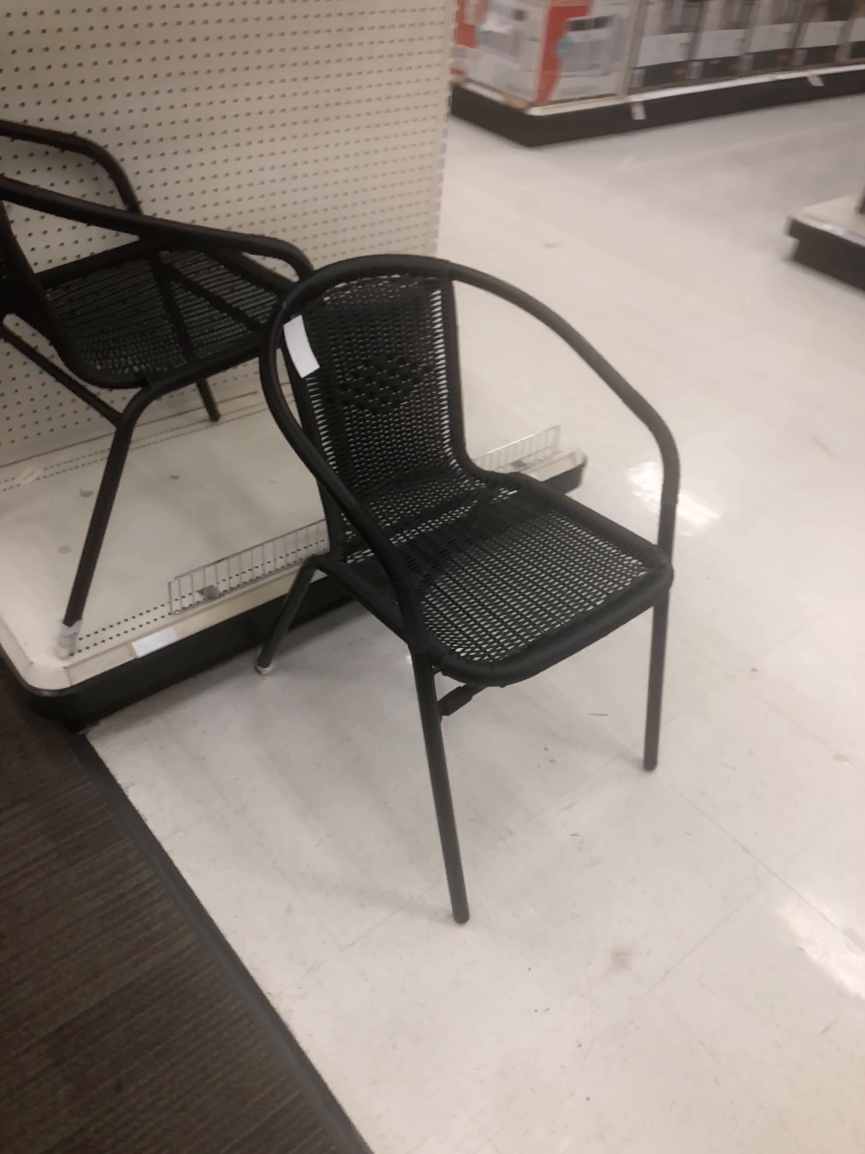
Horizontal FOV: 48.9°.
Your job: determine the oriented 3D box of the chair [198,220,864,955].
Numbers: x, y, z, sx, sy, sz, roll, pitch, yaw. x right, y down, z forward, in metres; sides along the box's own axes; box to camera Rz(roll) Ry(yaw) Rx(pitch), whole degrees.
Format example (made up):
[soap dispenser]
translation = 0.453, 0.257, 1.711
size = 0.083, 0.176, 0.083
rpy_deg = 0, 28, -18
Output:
[chair]
translation = 0.079, -0.029, 1.377
size = 0.532, 0.696, 0.641
rpy_deg = -23, 46, -32
